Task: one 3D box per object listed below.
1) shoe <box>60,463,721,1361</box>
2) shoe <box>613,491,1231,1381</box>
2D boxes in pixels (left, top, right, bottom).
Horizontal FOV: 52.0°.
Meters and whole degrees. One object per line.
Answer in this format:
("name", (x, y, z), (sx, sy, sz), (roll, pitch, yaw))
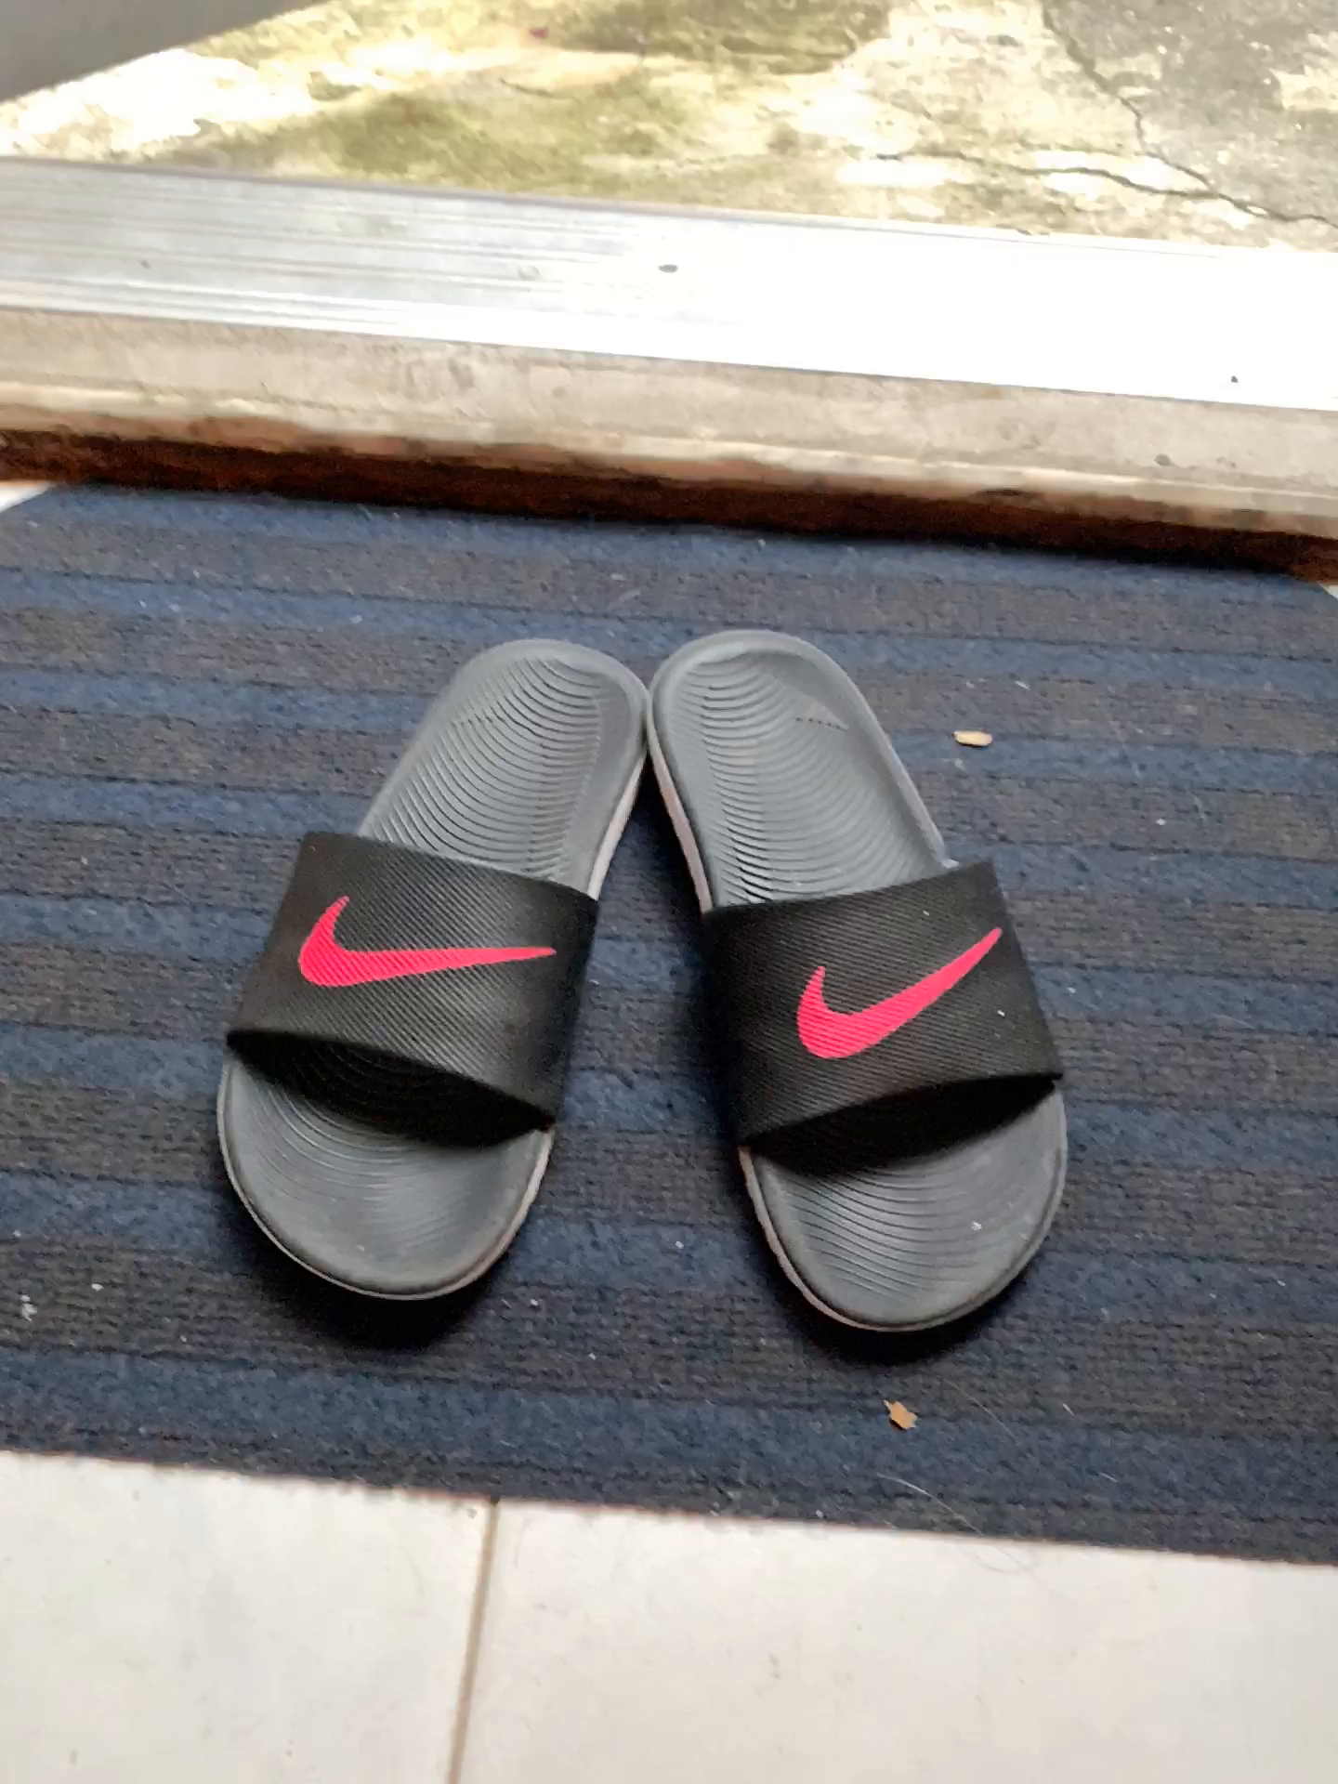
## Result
("shoe", (-0.062, -0.008, 0.406), (0.099, 0.078, 0.251), (12, 56, 6))
("shoe", (0.054, -0.001, 0.407), (0.099, 0.078, 0.251), (-8, 56, -8))
